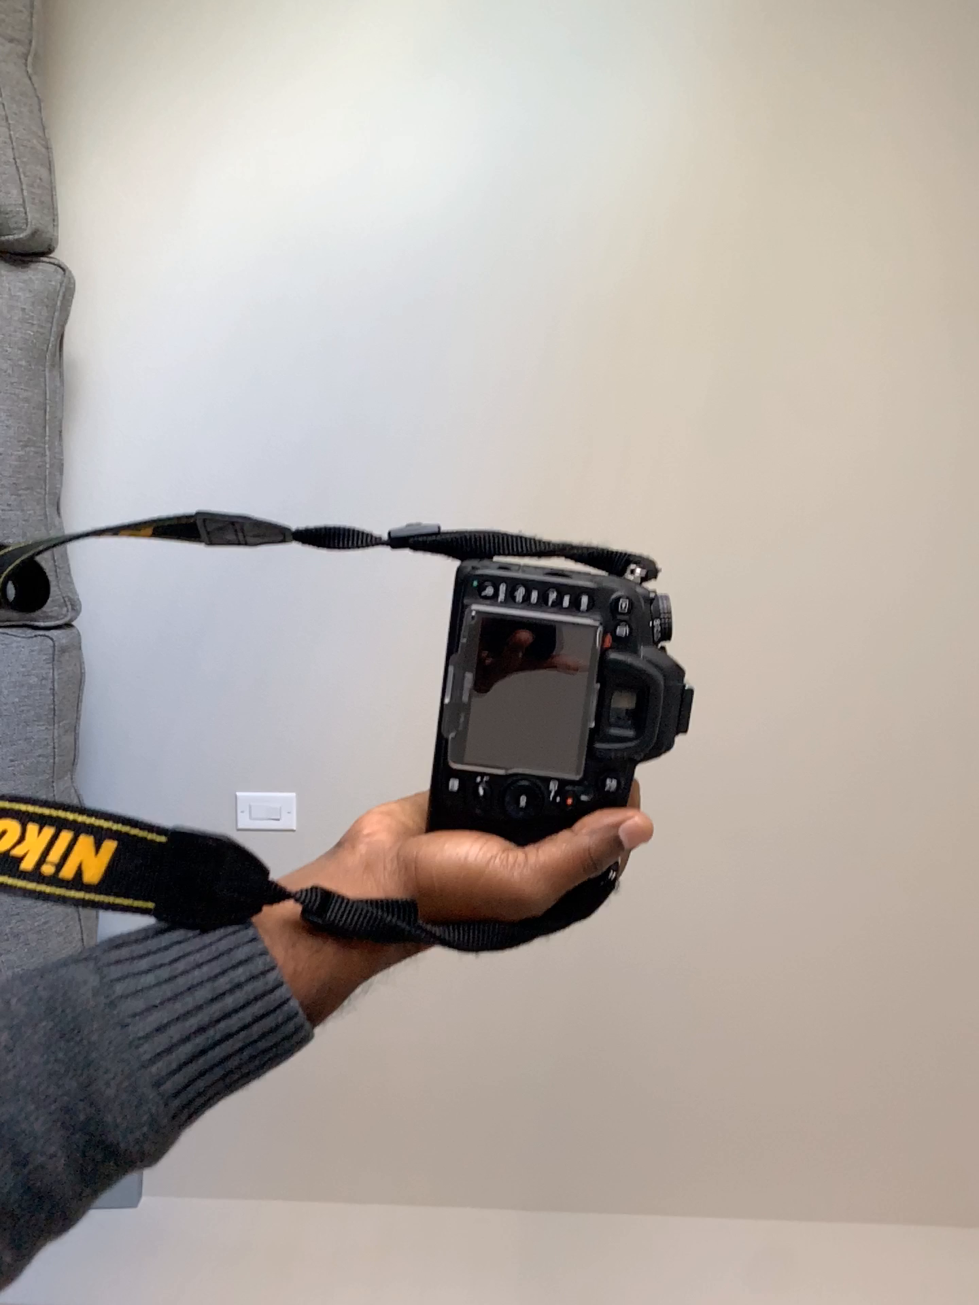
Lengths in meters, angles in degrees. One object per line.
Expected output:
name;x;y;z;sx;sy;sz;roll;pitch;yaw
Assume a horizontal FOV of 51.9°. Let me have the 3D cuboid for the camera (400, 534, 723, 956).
camera;0.028;0.033;0.515;0.170;0.114;0.160;-95;-166;-80
